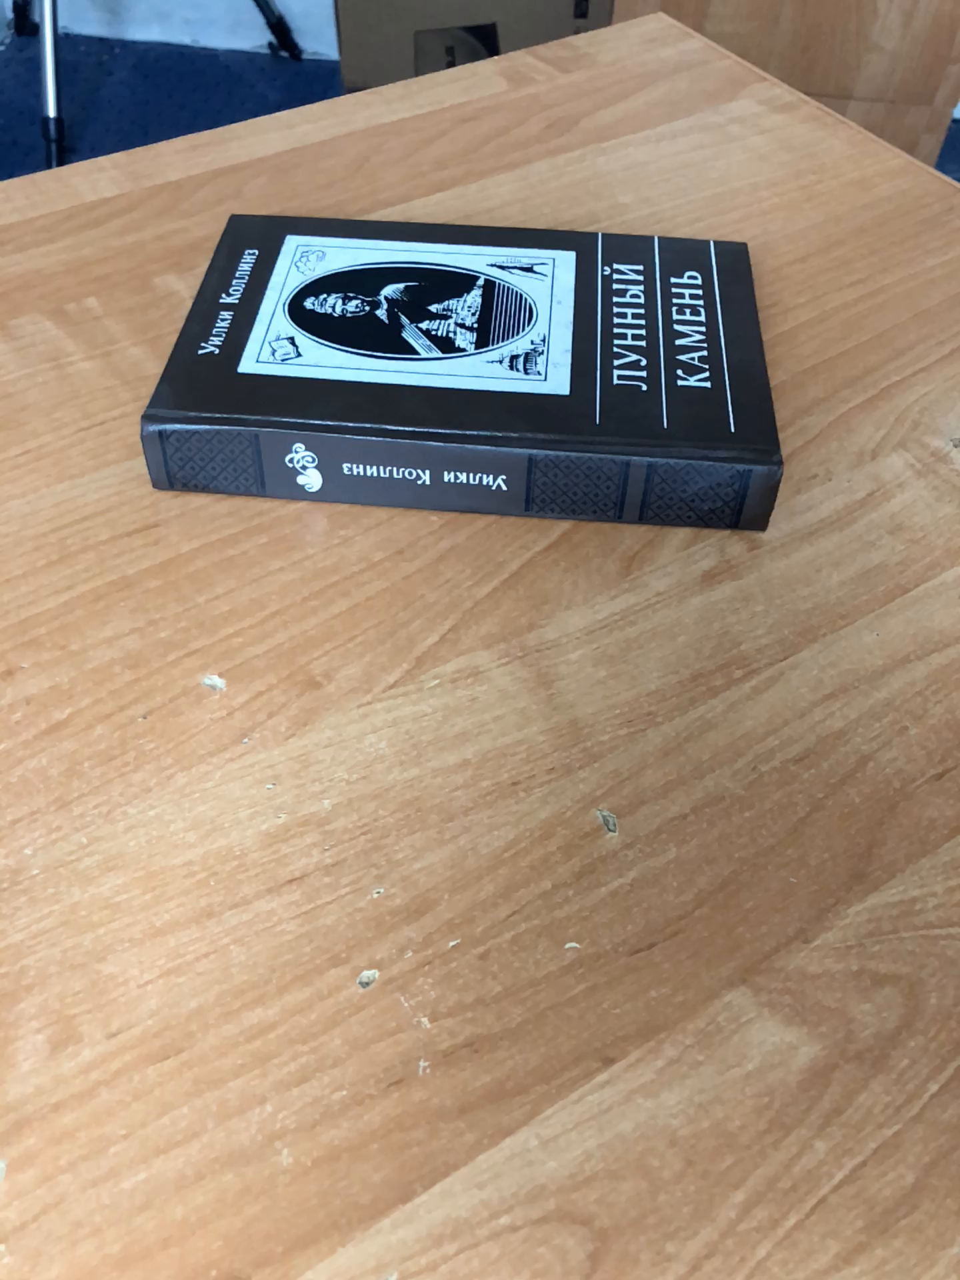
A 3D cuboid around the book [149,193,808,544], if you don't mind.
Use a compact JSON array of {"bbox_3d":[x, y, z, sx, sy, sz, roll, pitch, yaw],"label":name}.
[{"bbox_3d":[0.002,-0.100,0.374,0.199,0.032,0.134,4,51,0],"label":"book"}]
